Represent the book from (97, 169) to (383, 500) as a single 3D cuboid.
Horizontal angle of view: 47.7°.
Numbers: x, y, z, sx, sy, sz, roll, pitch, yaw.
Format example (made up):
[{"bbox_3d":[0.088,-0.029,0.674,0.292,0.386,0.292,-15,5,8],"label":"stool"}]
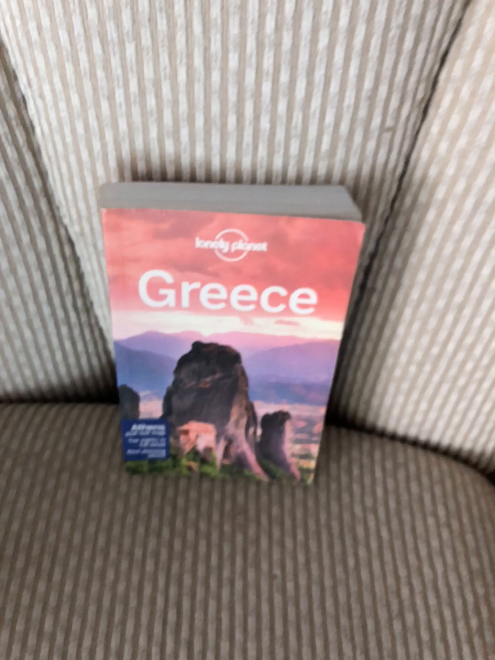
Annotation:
[{"bbox_3d":[-0.008,0.015,0.333,0.132,0.201,0.041,5,36,1],"label":"book"}]
